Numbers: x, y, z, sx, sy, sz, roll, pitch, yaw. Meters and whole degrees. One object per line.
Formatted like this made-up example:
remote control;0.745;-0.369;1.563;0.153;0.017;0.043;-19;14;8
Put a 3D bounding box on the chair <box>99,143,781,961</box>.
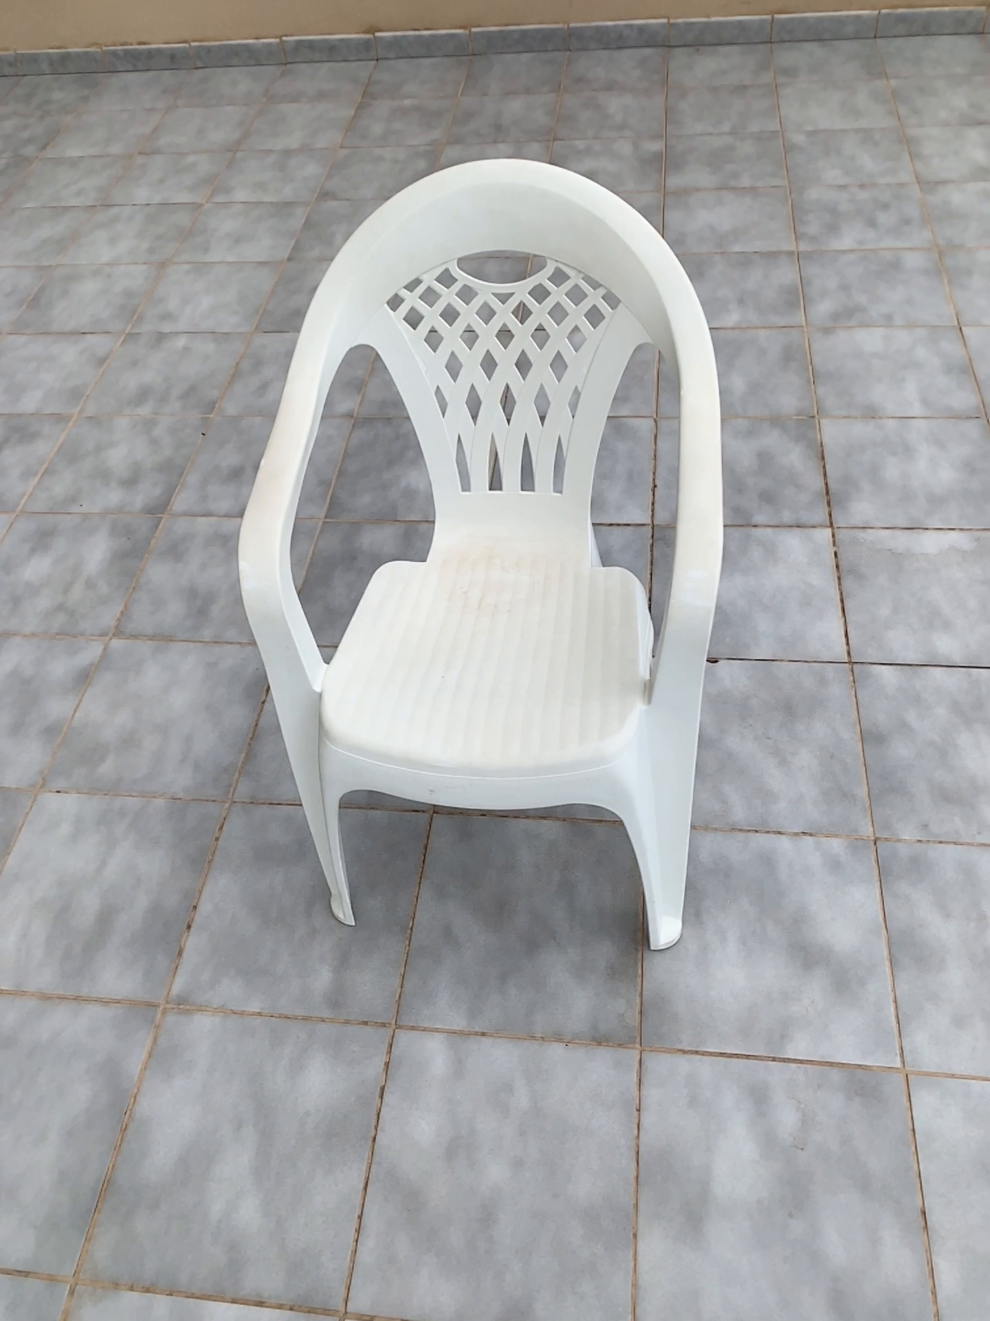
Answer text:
chair;0.012;-0.097;1.296;0.543;0.823;0.612;3;51;8
